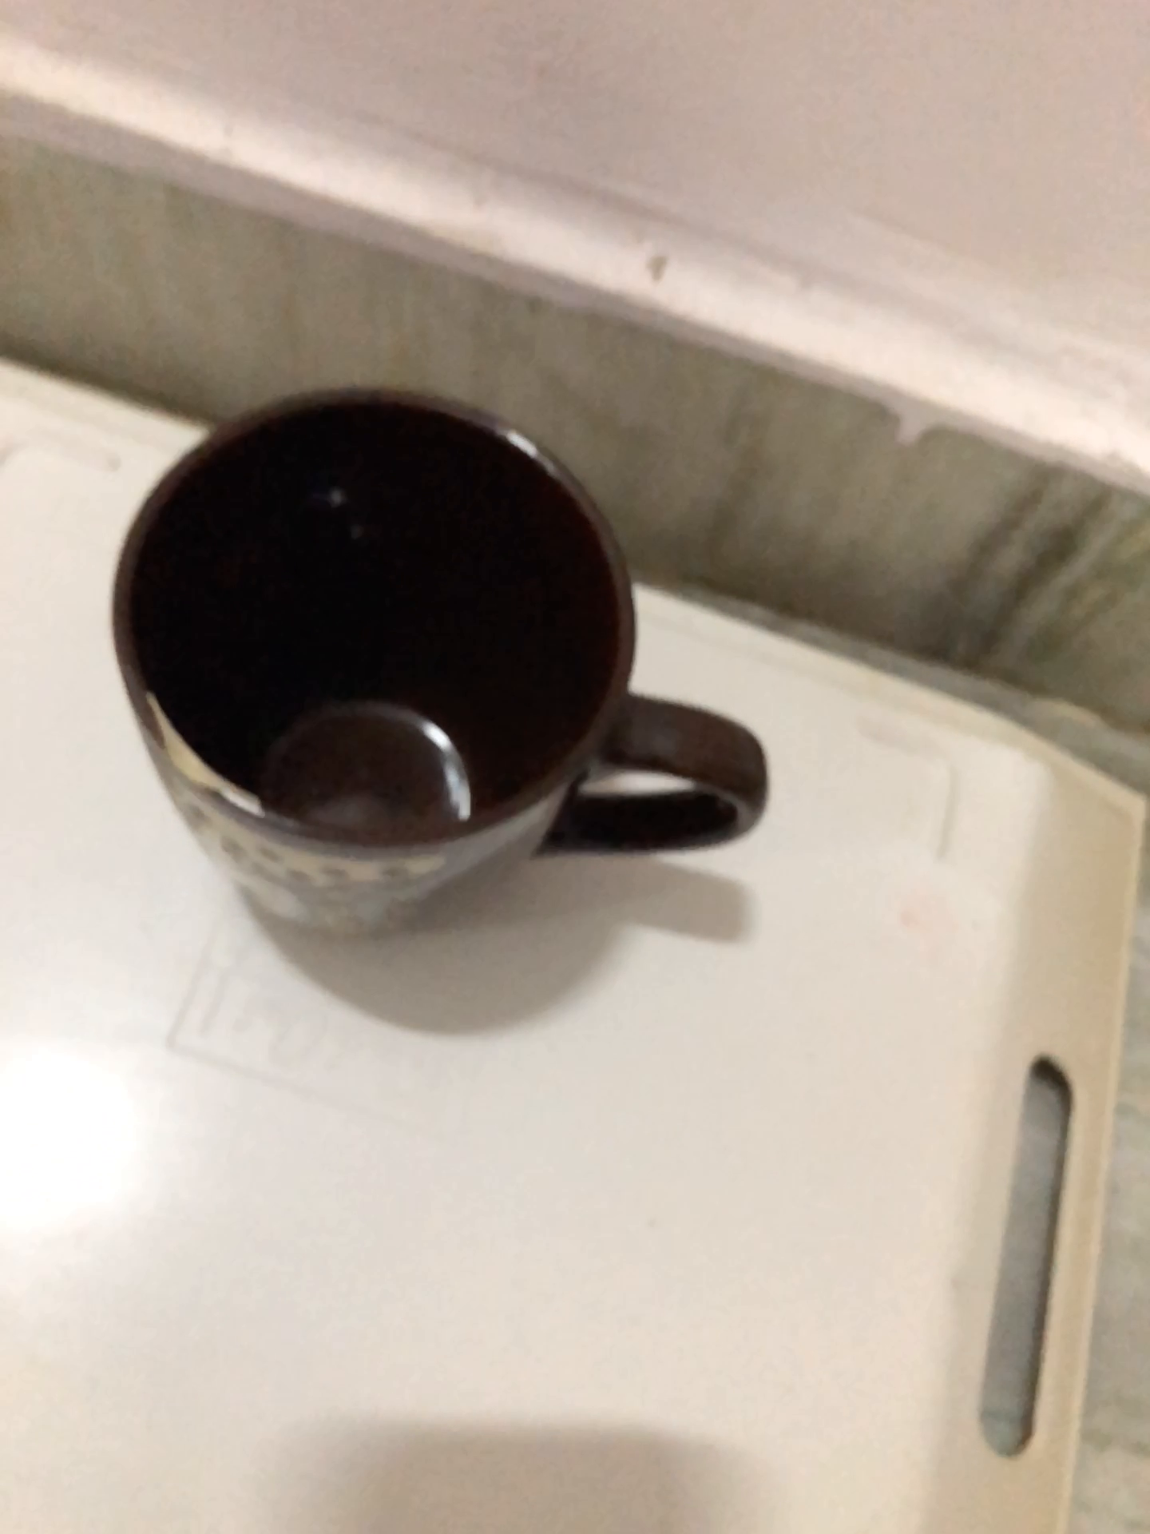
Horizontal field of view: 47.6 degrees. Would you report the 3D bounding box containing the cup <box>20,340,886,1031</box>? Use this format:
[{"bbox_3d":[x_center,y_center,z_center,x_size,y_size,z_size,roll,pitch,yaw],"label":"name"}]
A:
[{"bbox_3d":[-0.020,-0.005,0.239,0.120,0.100,0.070,10,66,-7],"label":"cup"}]
